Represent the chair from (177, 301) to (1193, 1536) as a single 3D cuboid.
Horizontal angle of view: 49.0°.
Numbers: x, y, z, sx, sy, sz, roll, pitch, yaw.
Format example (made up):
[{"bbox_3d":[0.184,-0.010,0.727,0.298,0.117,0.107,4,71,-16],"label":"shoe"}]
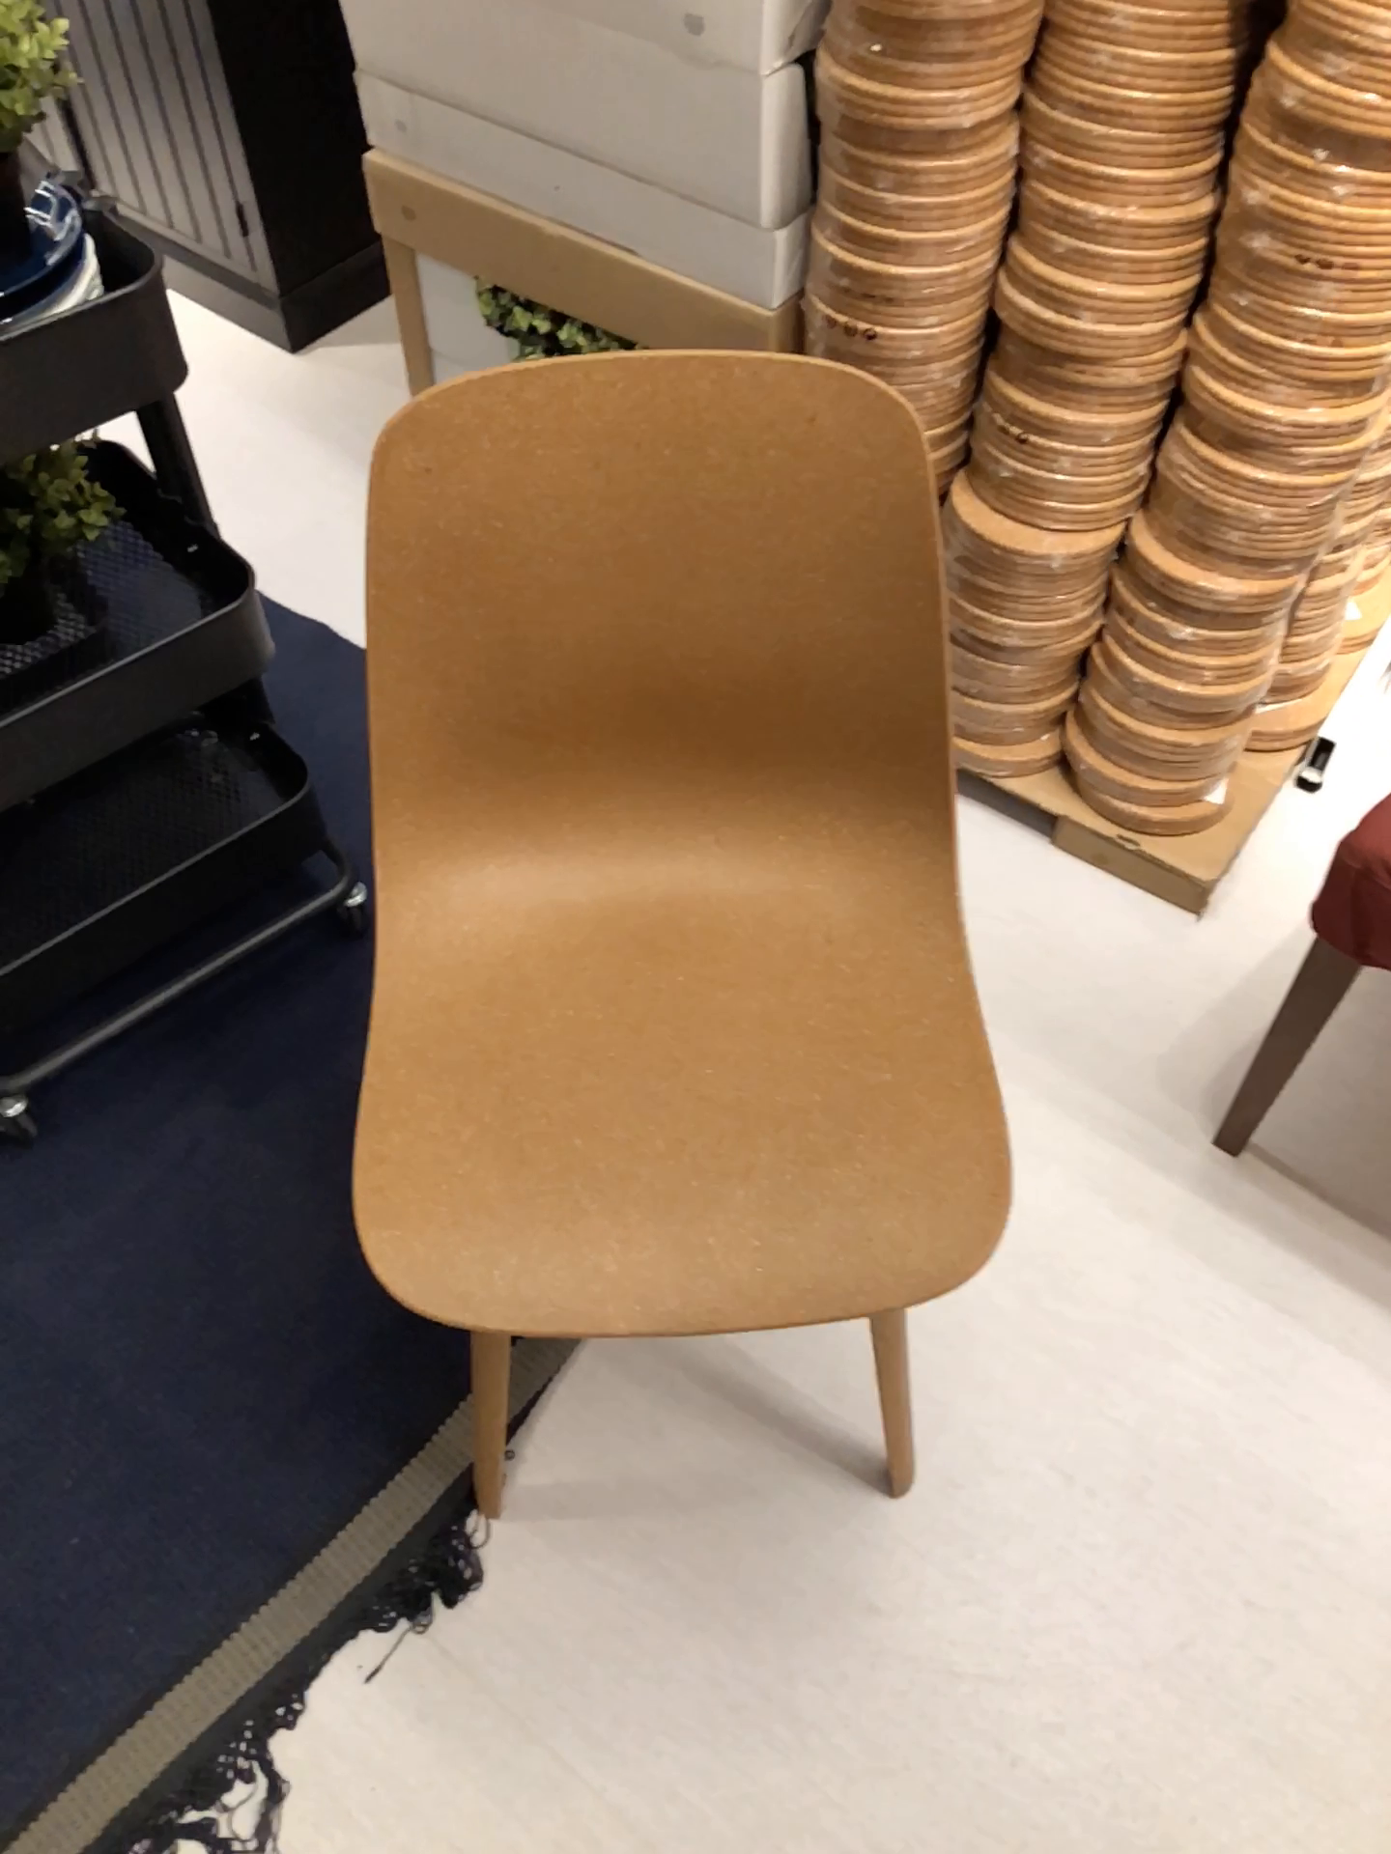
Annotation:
[{"bbox_3d":[-0.011,0.046,1.125,0.440,0.746,0.553,-3,53,-1],"label":"chair"}]
